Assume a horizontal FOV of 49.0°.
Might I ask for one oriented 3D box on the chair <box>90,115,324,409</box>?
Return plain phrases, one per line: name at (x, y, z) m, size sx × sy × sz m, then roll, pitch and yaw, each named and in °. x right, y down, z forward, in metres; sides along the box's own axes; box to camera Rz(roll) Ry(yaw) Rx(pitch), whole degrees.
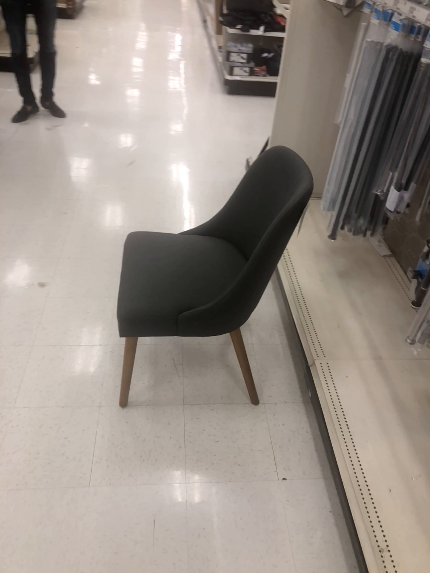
chair at (-0.061, -0.058, 1.646) m, size 0.586 × 0.859 × 0.516 m, roll 2°, pitch 38°, yaw -5°
